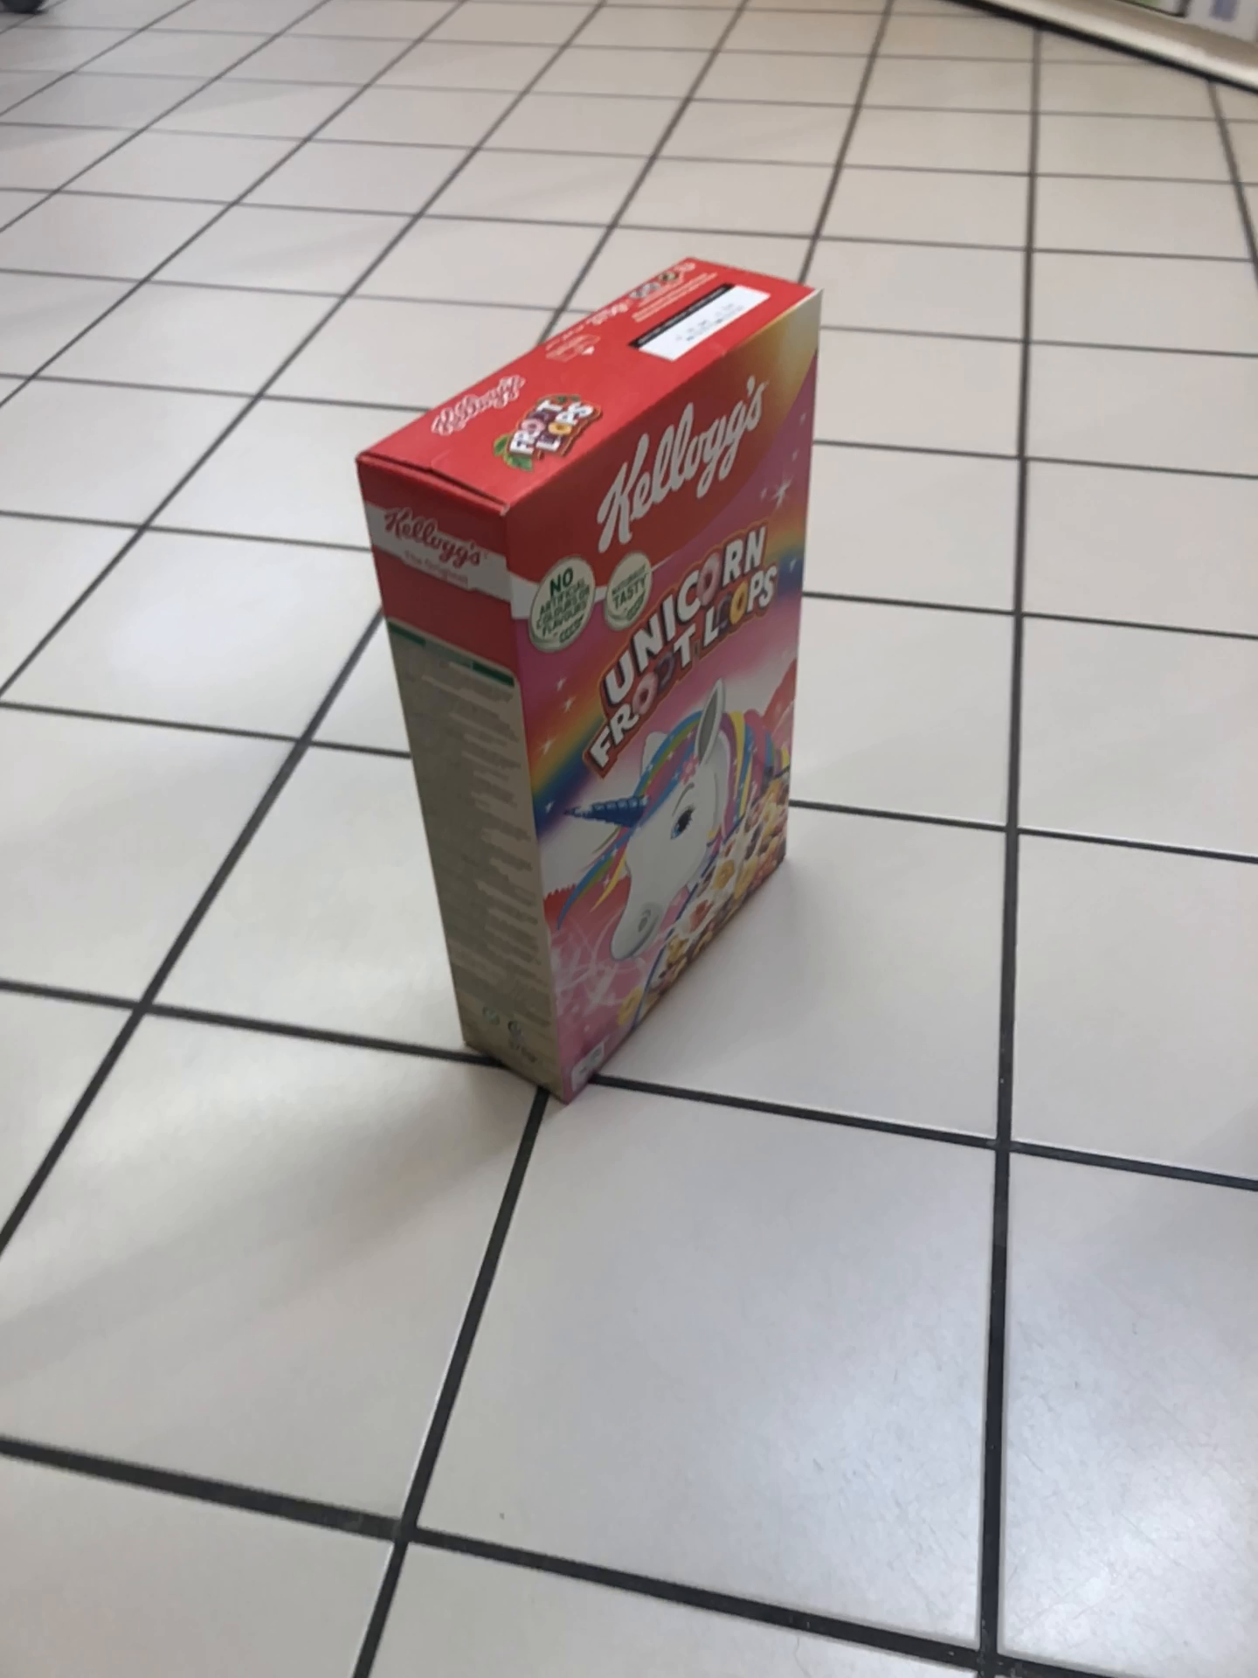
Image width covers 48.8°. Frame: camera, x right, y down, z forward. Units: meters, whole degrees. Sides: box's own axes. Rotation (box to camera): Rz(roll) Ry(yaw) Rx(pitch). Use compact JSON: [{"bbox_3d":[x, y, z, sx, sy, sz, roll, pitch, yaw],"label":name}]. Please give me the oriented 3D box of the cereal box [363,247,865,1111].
[{"bbox_3d":[0.007,-0.059,0.586,0.070,0.298,0.201,25,50,26],"label":"cereal box"}]
